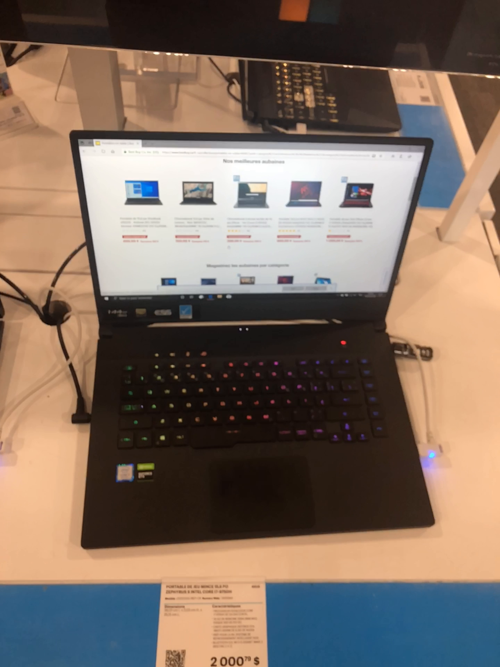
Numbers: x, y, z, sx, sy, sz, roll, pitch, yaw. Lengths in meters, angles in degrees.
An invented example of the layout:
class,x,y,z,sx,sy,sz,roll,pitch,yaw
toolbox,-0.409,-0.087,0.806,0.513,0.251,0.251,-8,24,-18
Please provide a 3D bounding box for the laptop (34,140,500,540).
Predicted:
class,x,y,z,sx,sy,sz,roll,pitch,yaw
laptop,0.015,0.004,0.535,0.340,0.207,0.315,0,57,-5
